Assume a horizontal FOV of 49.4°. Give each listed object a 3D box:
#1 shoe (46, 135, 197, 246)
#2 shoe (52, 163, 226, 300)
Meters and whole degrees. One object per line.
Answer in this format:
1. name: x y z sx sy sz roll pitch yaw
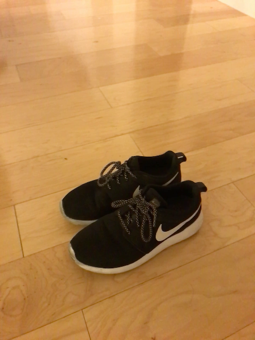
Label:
1. shoe: -0.007 0.035 0.594 0.291 0.099 0.100 -21 51 -21
2. shoe: 0.024 0.105 0.523 0.291 0.099 0.110 -21 51 -21
